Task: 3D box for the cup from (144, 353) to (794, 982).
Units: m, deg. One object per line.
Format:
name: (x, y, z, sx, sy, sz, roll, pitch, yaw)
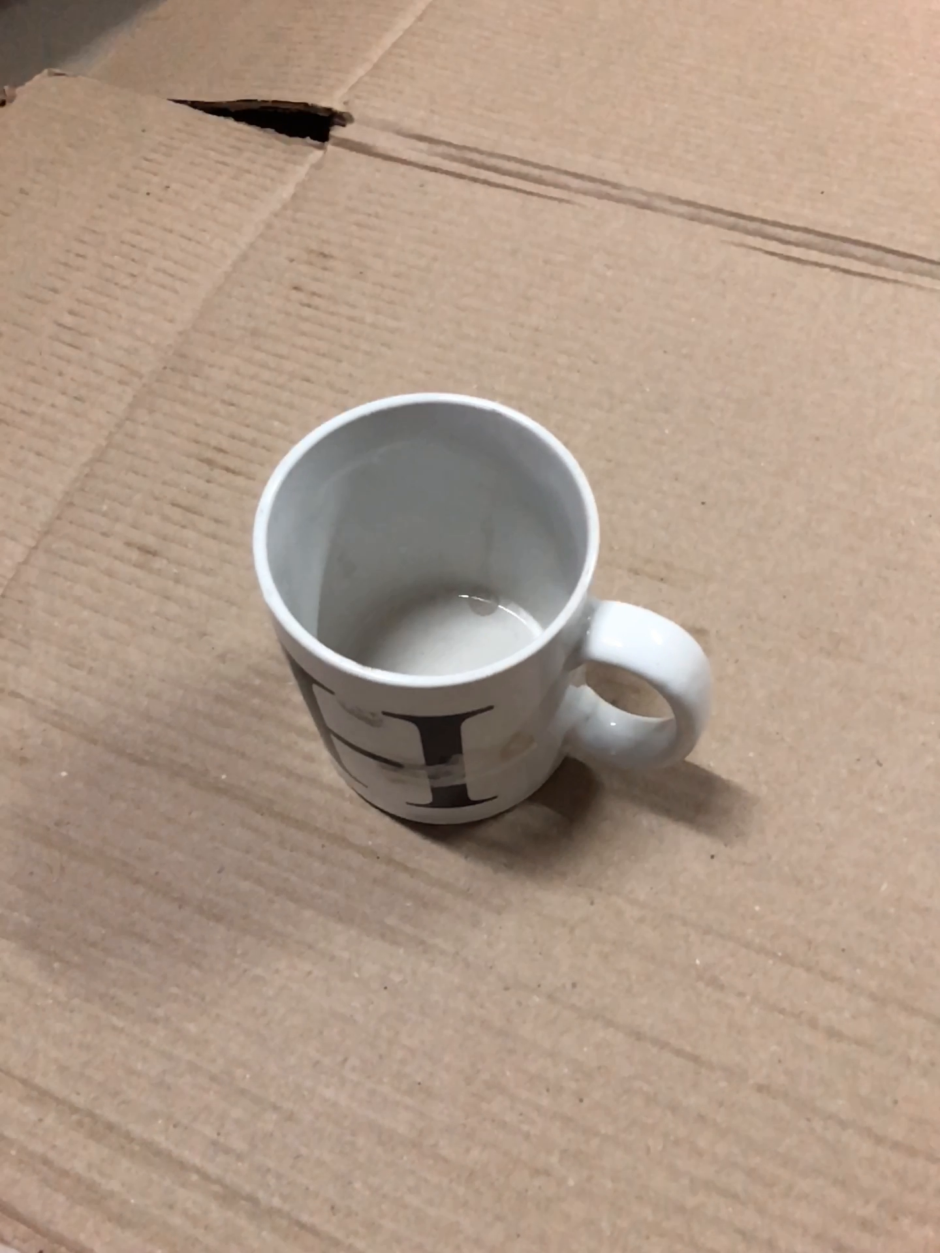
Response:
cup: (0.003, 0.012, 0.257, 0.110, 0.100, 0.080, 23, 60, 16)
